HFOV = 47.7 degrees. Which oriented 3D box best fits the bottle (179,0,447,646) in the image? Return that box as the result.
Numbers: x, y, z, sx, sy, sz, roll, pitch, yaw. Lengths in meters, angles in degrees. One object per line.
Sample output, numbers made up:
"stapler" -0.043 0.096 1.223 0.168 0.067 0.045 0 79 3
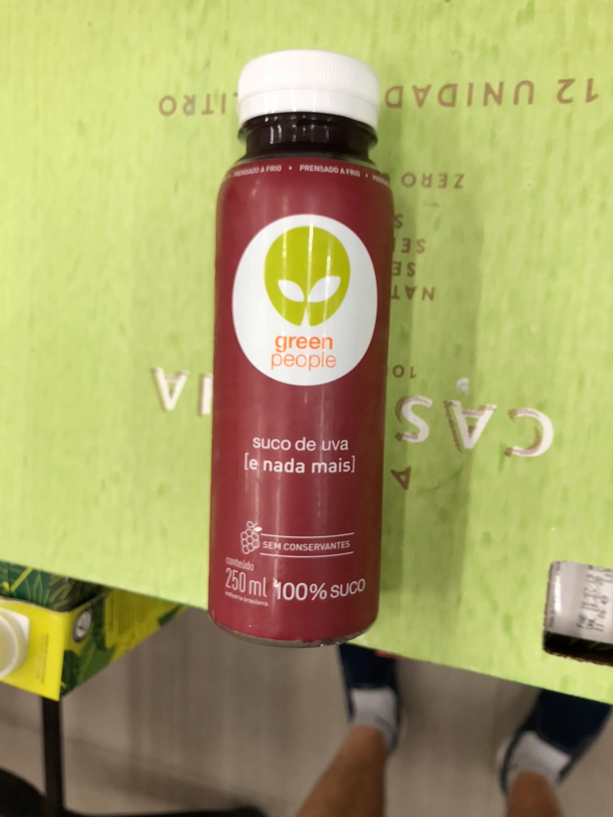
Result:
"bottle" -0.002 -0.025 0.203 0.060 0.060 0.170 2 97 -4
